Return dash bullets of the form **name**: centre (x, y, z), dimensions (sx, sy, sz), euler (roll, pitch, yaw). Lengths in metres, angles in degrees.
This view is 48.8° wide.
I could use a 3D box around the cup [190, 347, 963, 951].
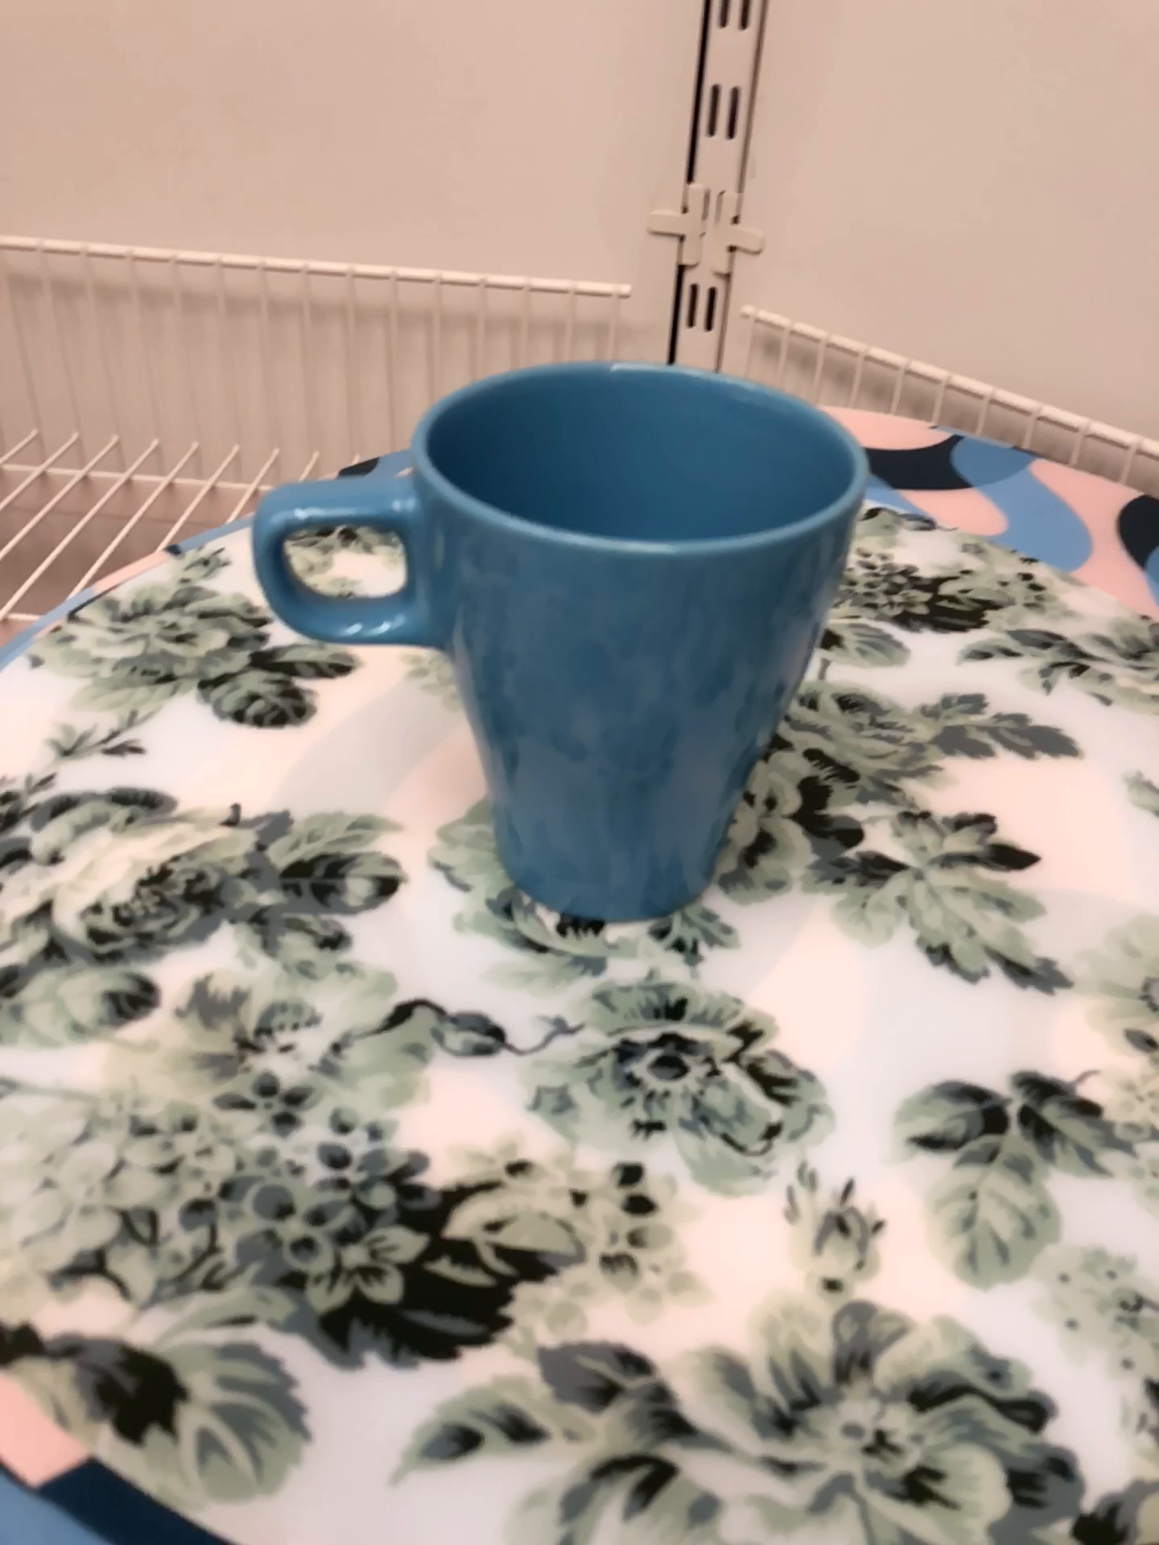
- **cup**: centre (-0.008, -0.030, 0.252), dimensions (0.120, 0.080, 0.090), euler (-4, 35, -12)
